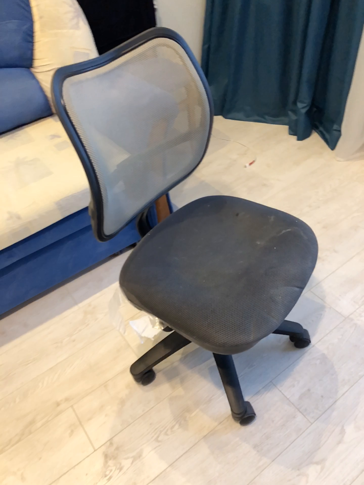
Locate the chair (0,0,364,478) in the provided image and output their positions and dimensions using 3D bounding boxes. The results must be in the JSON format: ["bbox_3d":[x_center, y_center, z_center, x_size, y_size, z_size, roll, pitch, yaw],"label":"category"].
[{"bbox_3d":[0.071,-0.035,0.916,0.511,0.735,0.663,28,54,31],"label":"chair"}]
